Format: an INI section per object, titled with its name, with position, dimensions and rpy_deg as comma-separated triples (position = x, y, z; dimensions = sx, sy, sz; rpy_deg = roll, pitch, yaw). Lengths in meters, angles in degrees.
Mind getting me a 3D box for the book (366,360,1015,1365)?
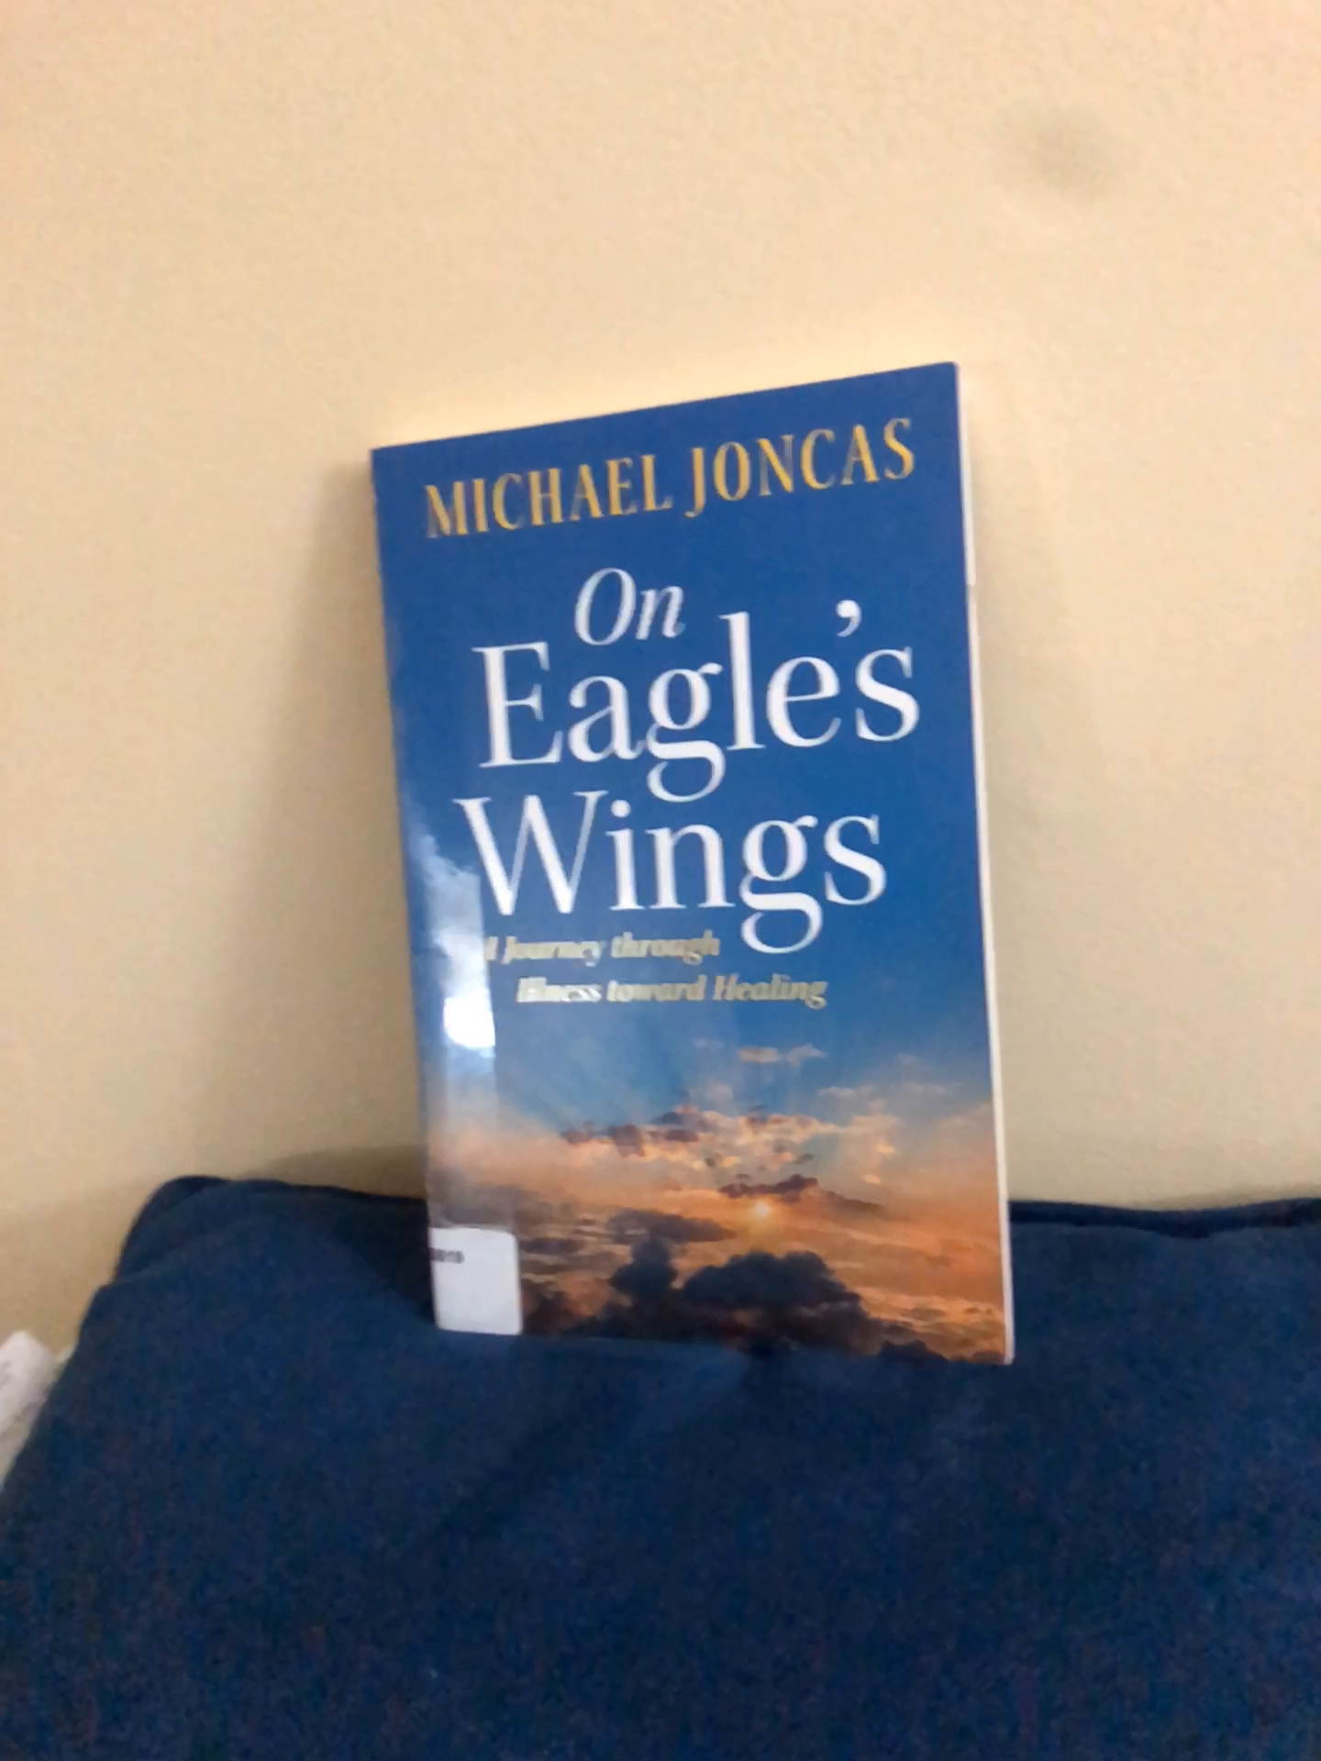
[book]
position = 0.005, 0.000, 0.335
dimensions = 0.139, 0.211, 0.014
rpy_deg = -2, 3, 18
